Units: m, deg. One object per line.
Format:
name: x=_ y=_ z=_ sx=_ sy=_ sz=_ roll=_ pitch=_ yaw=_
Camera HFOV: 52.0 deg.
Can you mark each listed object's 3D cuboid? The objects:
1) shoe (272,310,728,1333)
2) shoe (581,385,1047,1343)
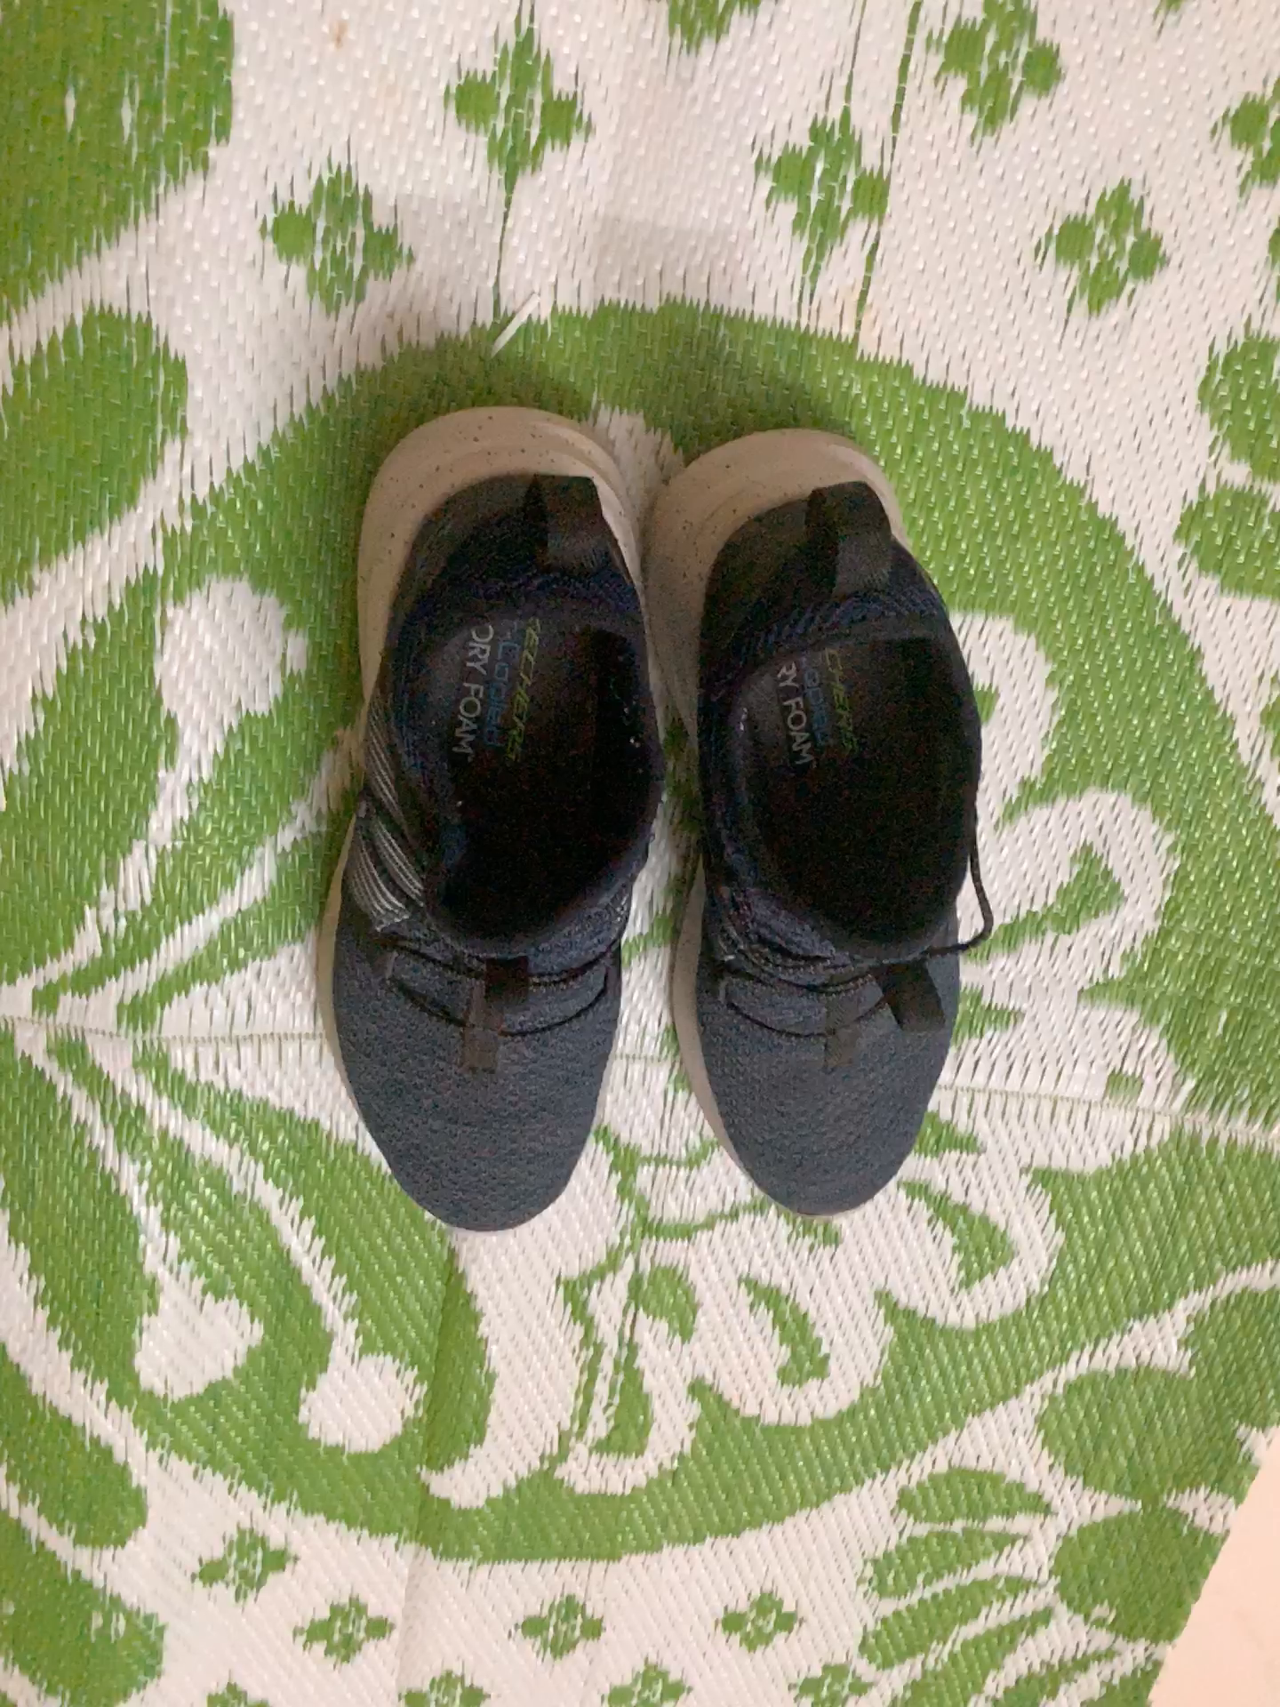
shoe: x=-0.048 y=-0.006 z=0.417 sx=0.110 sy=0.100 sz=0.300 roll=0 pitch=111 yaw=-9
shoe: x=0.061 y=0.005 z=0.439 sx=0.110 sy=0.100 sz=0.290 roll=-10 pitch=112 yaw=-5
